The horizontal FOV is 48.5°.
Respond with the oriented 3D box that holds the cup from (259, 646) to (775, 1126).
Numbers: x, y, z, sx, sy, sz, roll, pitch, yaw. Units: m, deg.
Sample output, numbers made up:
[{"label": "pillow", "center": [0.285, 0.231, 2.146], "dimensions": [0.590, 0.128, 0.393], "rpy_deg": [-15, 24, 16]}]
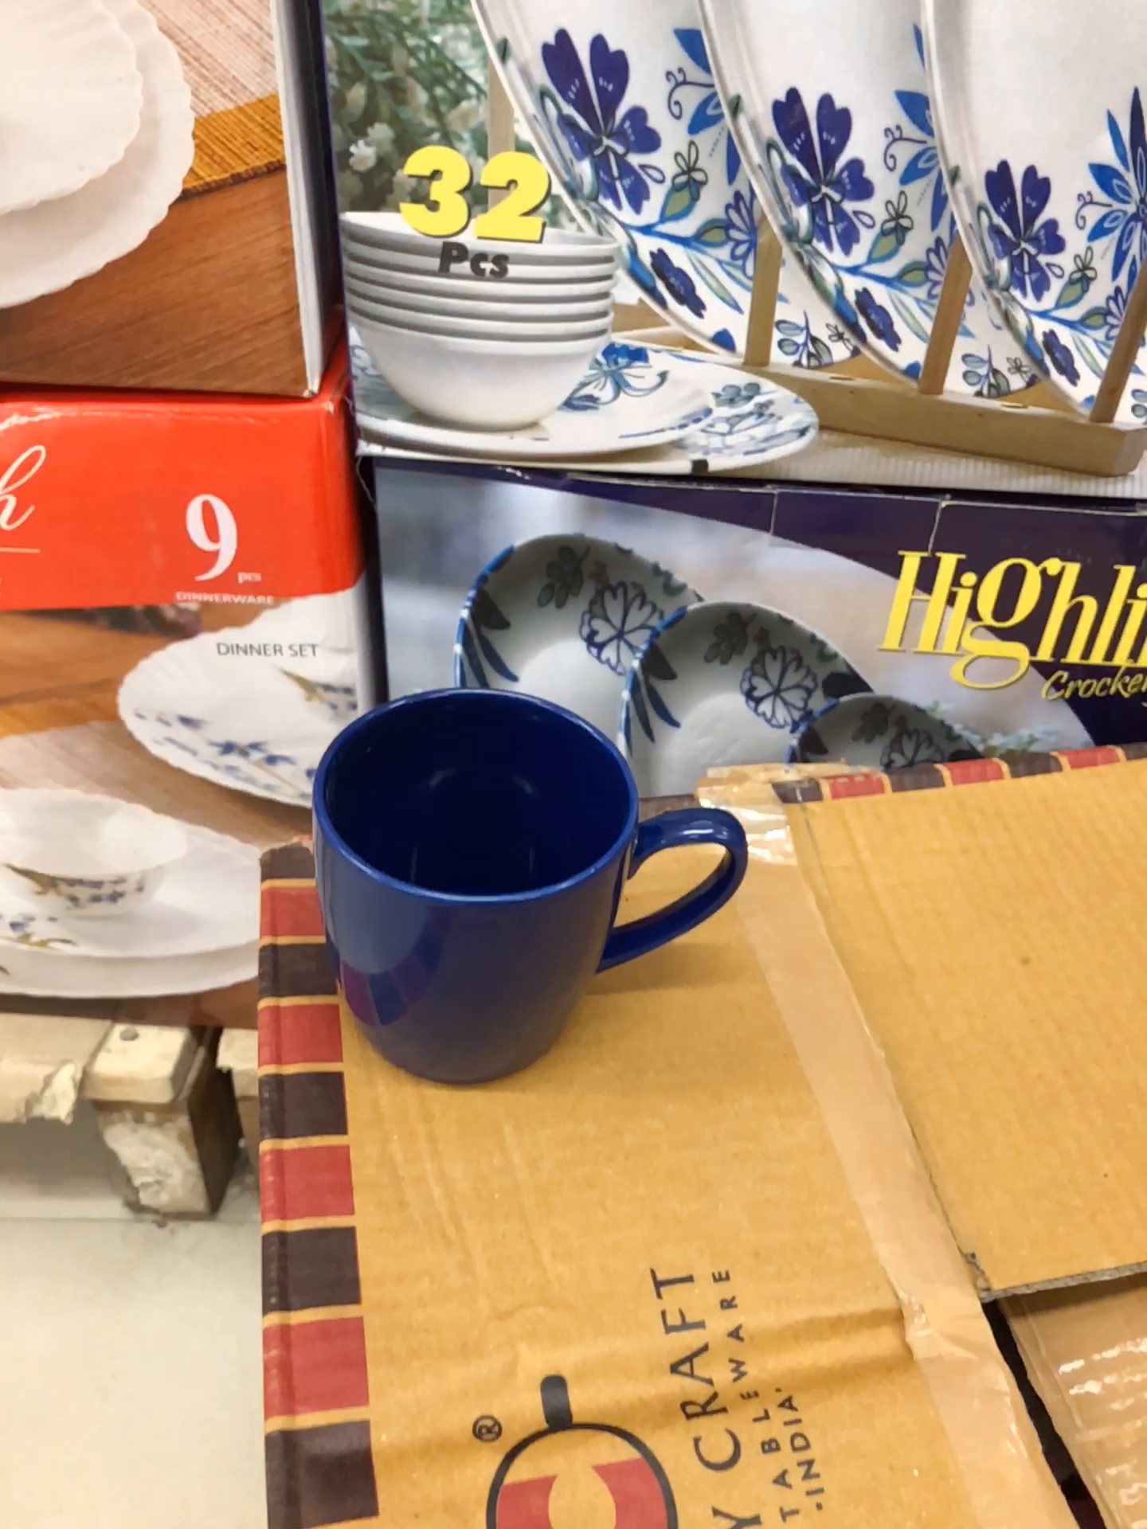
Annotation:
[{"label": "cup", "center": [-0.016, 0.027, 0.298], "dimensions": [0.100, 0.079, 0.070], "rpy_deg": [-3, 40, -7]}]
